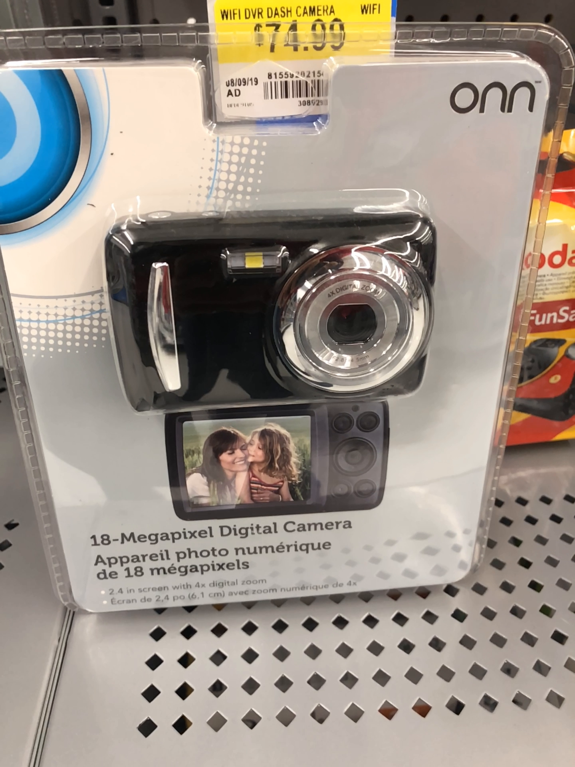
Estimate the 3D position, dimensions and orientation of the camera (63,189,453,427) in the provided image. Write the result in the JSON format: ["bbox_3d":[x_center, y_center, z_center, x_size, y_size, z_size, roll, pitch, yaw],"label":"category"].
[{"bbox_3d":[-0.007,-0.023,0.193,0.100,0.060,0.030,-3,30,-3],"label":"camera"}]
